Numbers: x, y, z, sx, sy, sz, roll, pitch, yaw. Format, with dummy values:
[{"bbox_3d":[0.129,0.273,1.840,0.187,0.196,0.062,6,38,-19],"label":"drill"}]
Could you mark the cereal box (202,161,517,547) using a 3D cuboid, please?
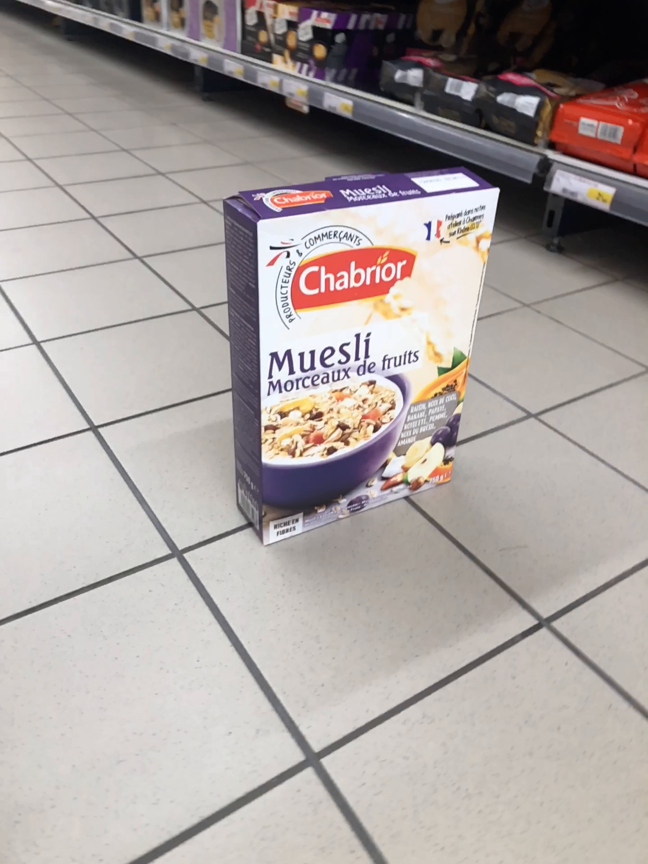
[{"bbox_3d":[0.023,-0.061,0.557,0.211,0.258,0.070,-16,38,-26],"label":"cereal box"}]
